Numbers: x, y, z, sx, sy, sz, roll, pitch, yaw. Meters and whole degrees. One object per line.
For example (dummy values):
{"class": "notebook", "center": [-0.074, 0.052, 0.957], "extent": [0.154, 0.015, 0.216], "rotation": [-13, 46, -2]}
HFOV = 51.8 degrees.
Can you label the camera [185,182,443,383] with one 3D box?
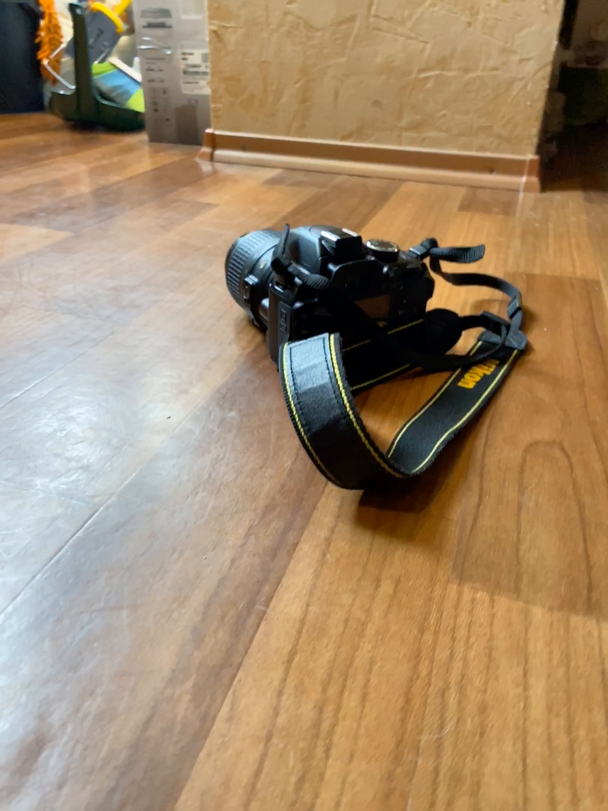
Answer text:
{"class": "camera", "center": [0.000, -0.105, 0.482], "extent": [0.121, 0.090, 0.162], "rotation": [-16, 35, -28]}
